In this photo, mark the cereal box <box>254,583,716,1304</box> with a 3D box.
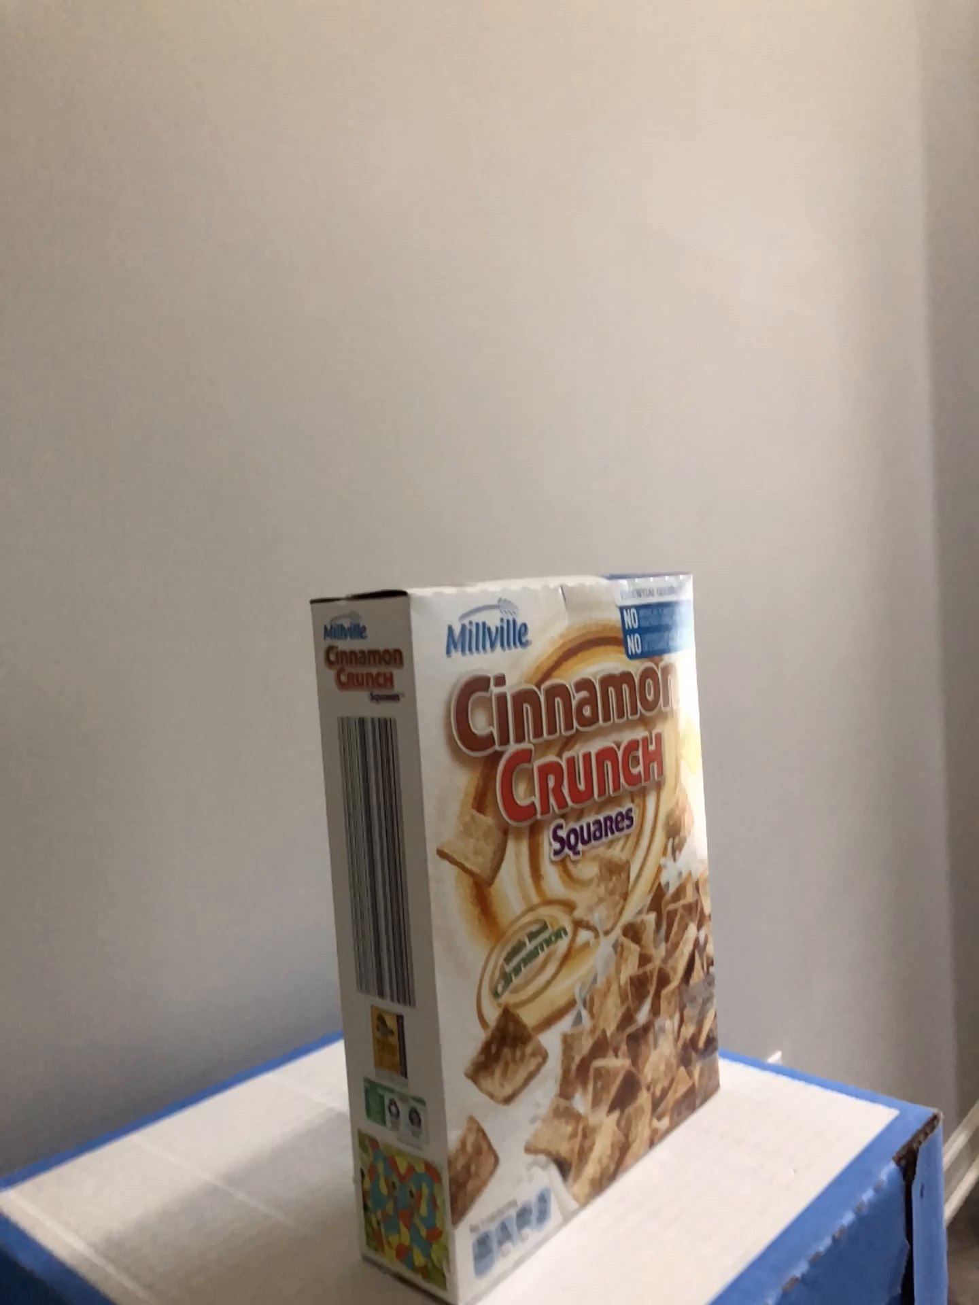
[{"bbox_3d":[0.012,0.100,0.476,0.070,0.250,0.210,-1,4,40],"label":"cereal box"}]
